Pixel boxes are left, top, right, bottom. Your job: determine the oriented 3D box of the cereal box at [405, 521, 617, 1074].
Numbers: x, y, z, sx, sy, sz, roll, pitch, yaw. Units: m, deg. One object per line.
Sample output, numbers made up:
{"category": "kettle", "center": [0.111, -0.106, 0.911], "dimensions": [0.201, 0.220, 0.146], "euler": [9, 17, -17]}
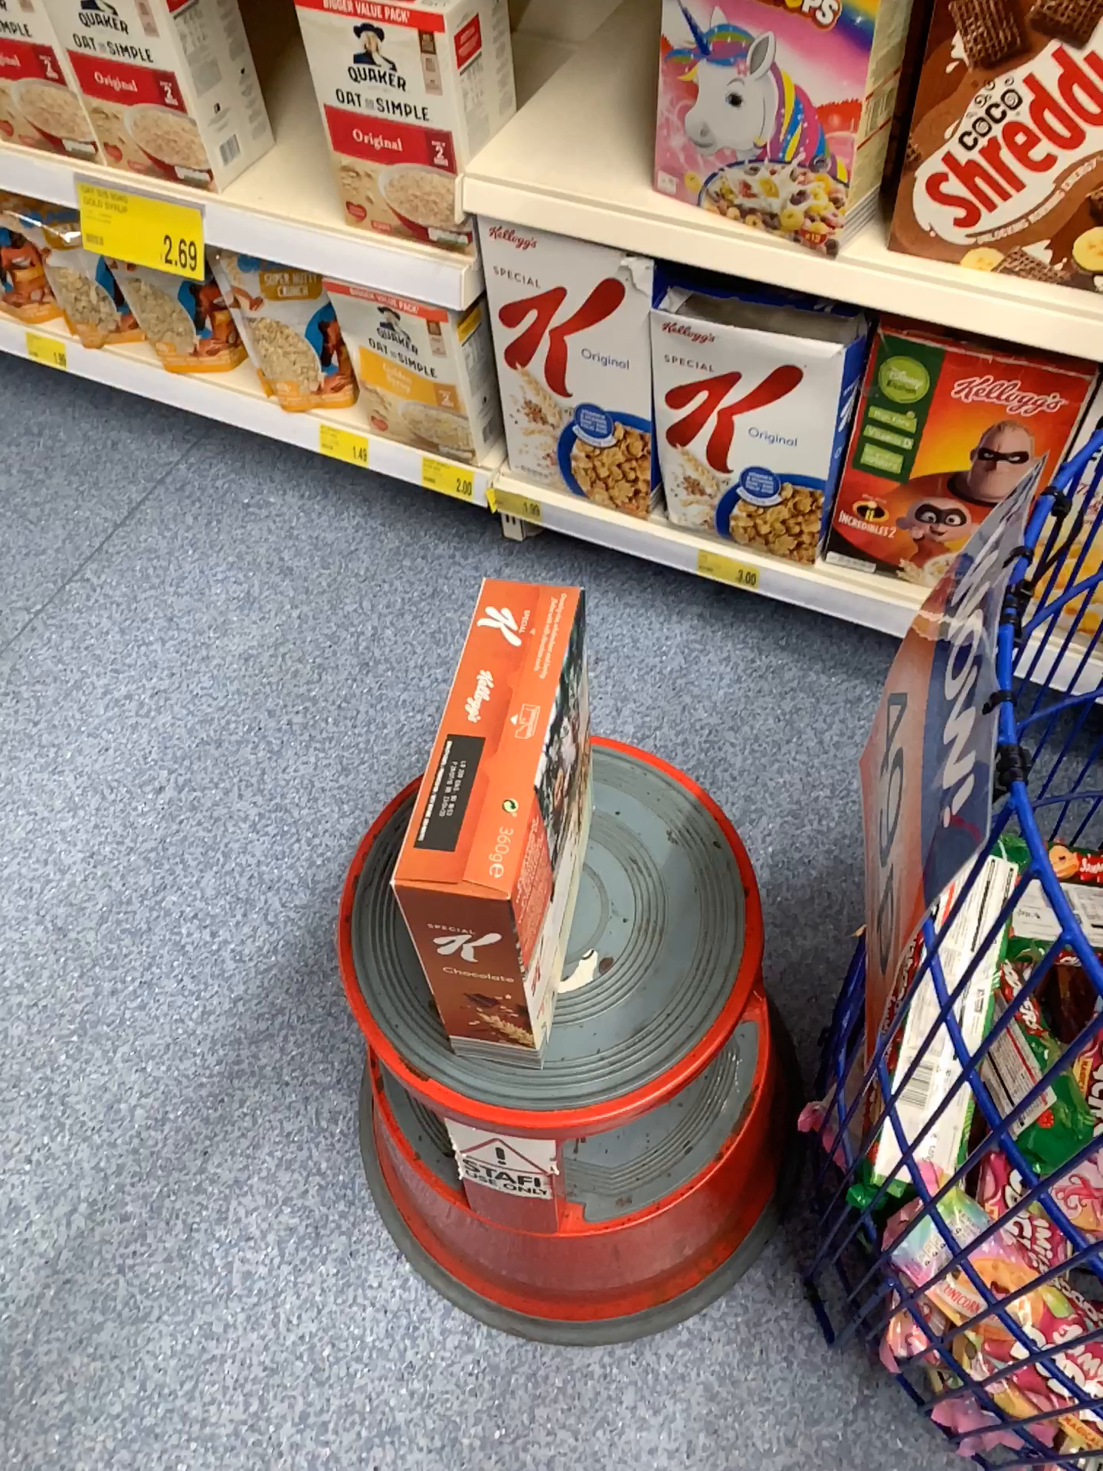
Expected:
{"category": "cereal box", "center": [-0.008, 0.048, 0.661], "dimensions": [0.060, 0.268, 0.212], "euler": [7, 57, 9]}
